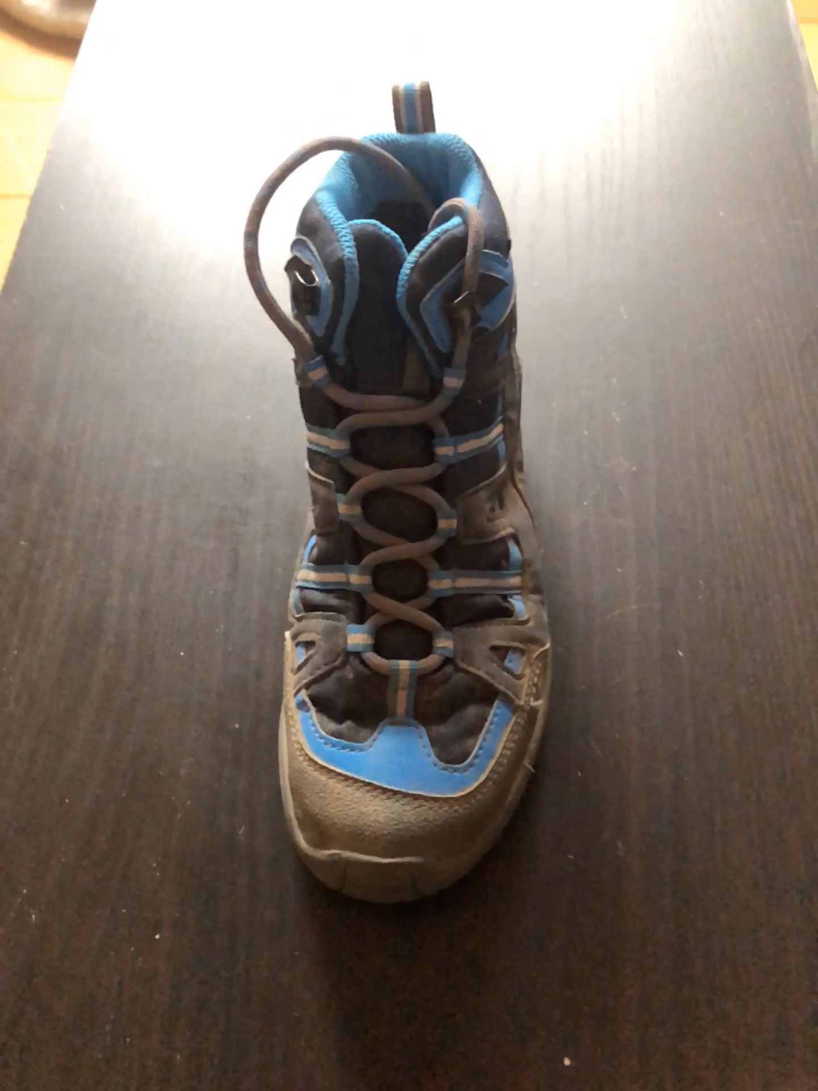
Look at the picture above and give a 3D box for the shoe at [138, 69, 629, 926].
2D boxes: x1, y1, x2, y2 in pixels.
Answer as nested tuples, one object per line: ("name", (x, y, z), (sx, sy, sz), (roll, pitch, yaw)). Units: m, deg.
("shoe", (0.004, -0.020, 0.295), (0.100, 0.120, 0.251), (2, 62, 4))
